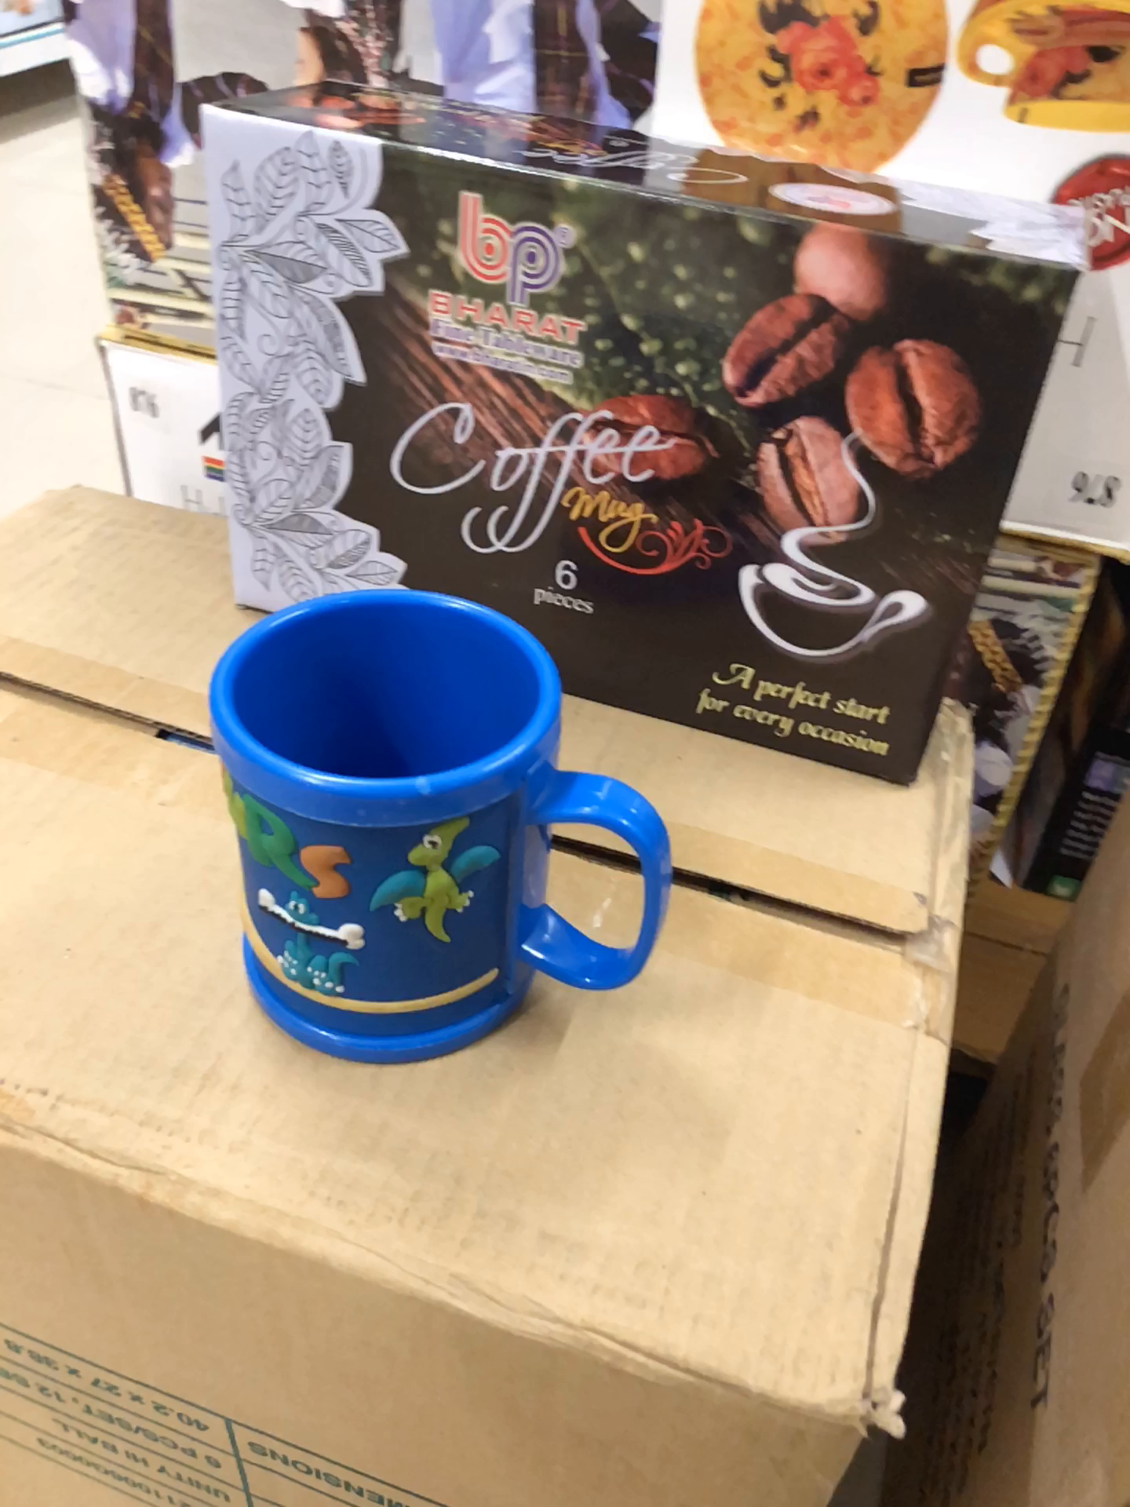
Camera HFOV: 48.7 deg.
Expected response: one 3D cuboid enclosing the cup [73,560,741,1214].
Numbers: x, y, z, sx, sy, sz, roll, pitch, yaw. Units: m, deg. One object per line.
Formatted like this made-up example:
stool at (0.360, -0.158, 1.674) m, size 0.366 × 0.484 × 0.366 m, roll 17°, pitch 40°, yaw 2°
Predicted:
cup at (-0.034, 0.027, 0.309) m, size 0.120 × 0.089 × 0.091 m, roll 19°, pitch 41°, yaw 17°
